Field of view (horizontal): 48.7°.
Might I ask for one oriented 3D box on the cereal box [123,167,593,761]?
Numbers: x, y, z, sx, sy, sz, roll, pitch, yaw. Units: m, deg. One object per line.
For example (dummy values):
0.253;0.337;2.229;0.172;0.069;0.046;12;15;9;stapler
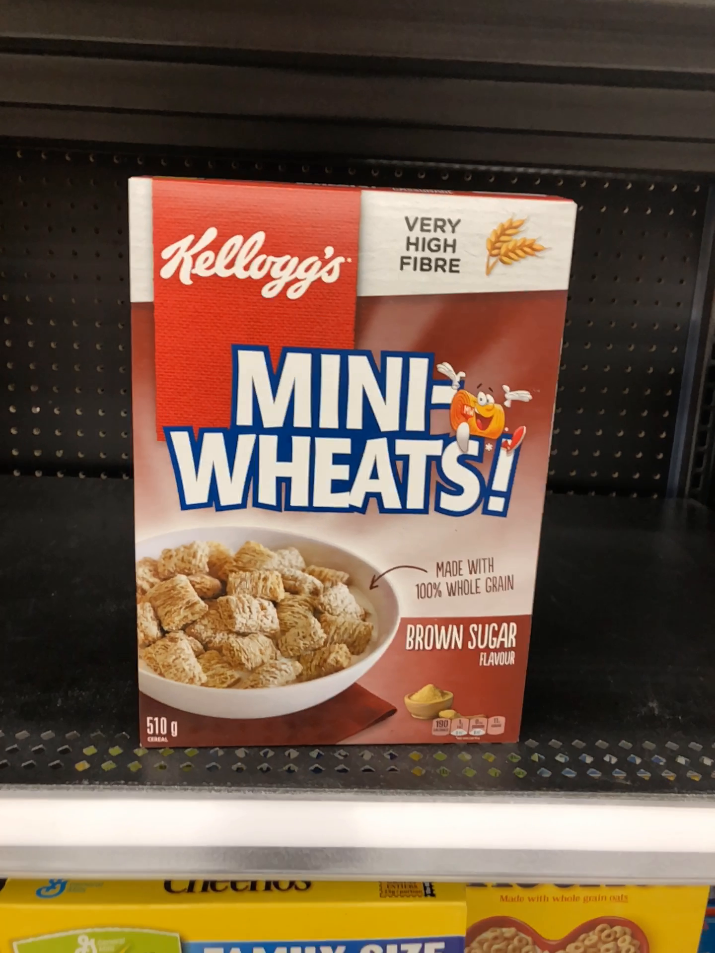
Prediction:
-0.005;0.001;0.398;0.200;0.279;0.060;1;14;-5;cereal box
